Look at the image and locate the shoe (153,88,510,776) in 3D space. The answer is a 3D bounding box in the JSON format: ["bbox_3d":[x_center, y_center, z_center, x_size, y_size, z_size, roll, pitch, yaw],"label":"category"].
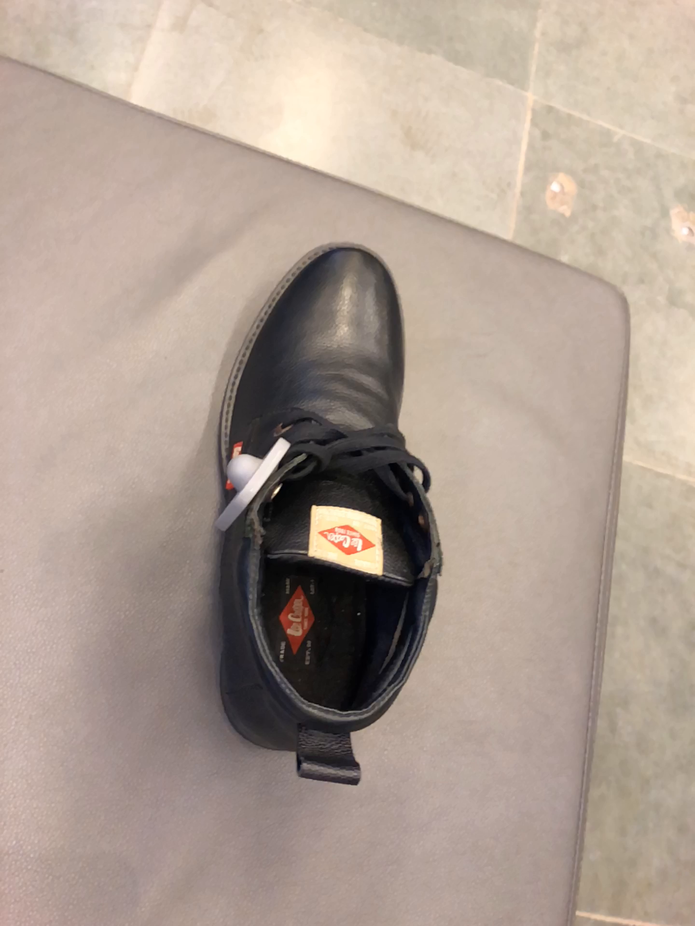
[{"bbox_3d":[-0.009,-0.007,0.386,0.111,0.149,0.284,12,69,-12],"label":"shoe"}]
